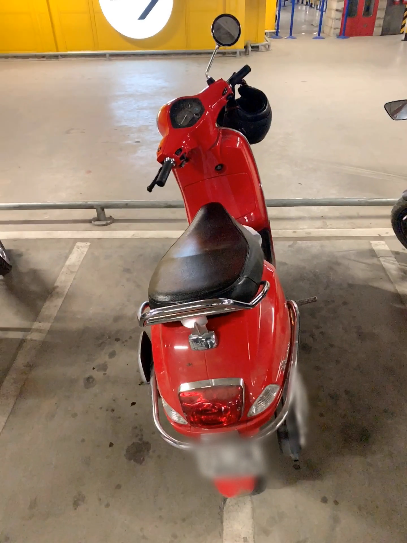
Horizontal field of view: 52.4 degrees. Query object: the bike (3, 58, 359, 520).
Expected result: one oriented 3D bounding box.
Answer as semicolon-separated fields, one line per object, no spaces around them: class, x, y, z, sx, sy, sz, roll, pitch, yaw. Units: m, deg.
bike;-0.088;-0.117;1.774;0.632;1.201;1.688;-3;35;-2
